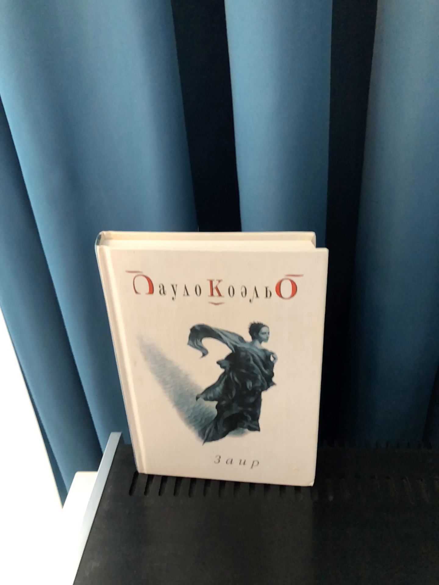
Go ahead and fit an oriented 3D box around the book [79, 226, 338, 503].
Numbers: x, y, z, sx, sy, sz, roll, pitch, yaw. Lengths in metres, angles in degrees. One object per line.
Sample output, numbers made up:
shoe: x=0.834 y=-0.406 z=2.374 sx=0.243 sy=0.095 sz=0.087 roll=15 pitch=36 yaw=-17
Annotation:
book: x=0.000 y=0.050 z=0.296 sx=0.130 sy=0.179 sz=0.030 roll=1 pitch=30 yaw=10
